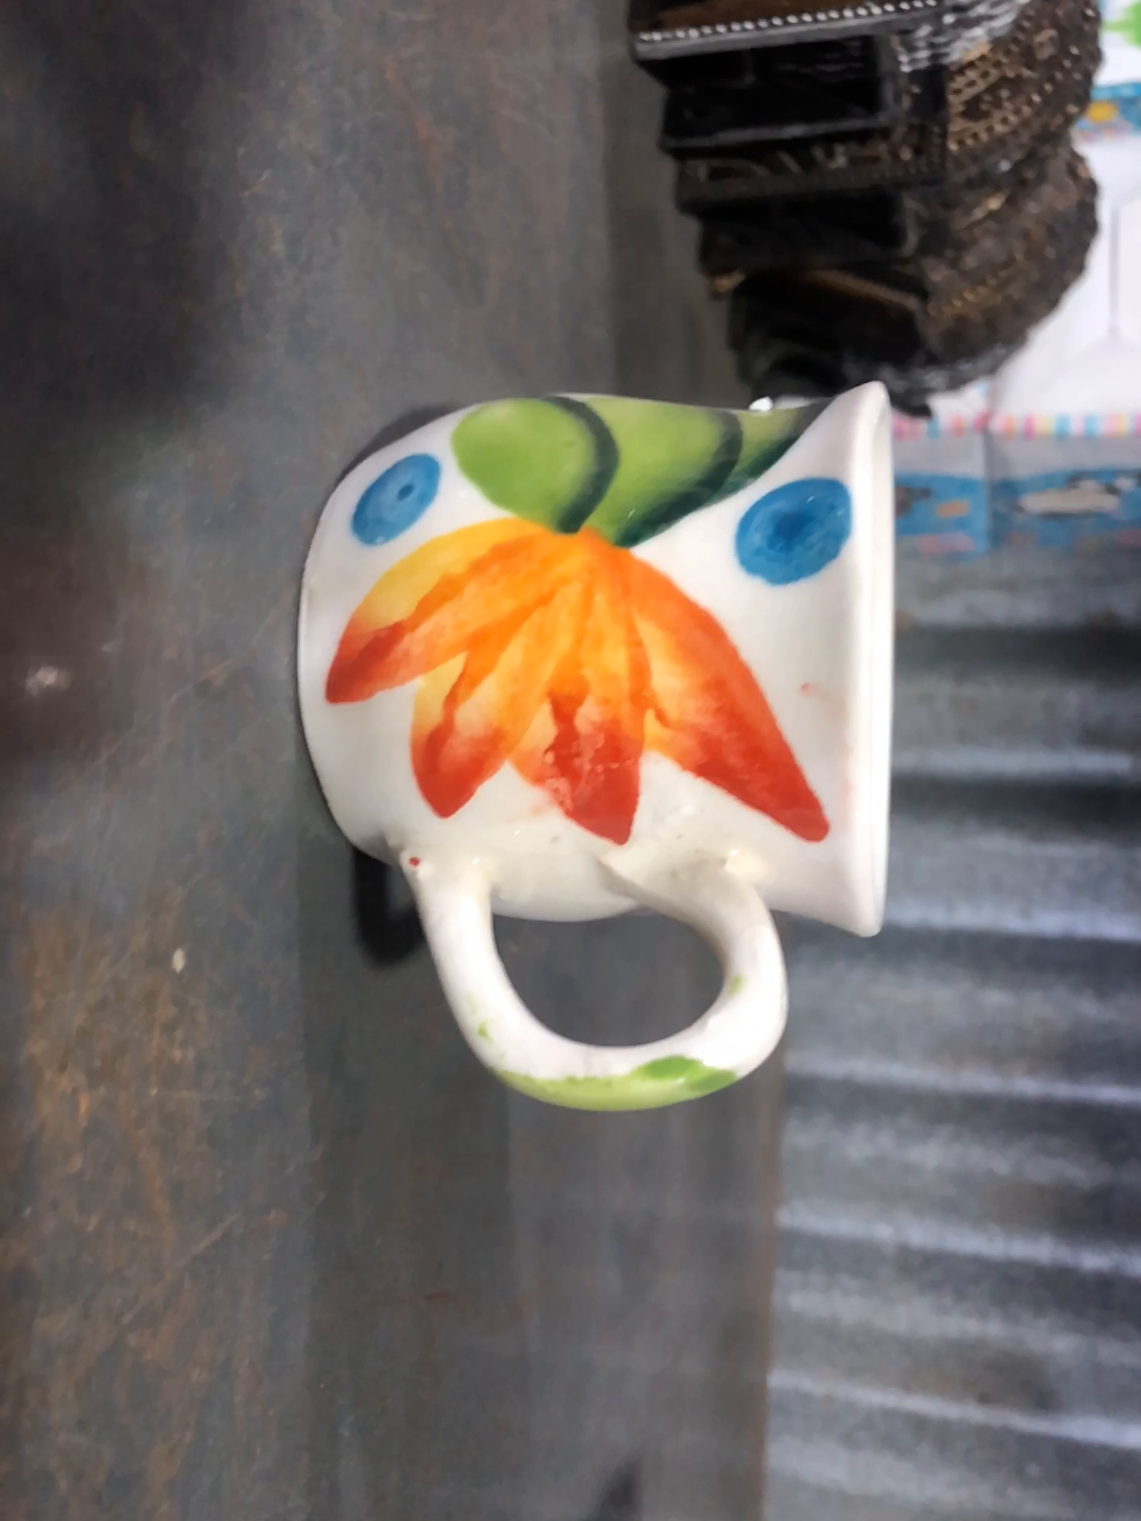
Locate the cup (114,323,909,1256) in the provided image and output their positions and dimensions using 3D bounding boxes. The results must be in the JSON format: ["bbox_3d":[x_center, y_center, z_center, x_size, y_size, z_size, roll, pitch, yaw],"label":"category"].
[{"bbox_3d":[0.005,0.005,0.165,0.070,0.070,0.090,68,28,-57],"label":"cup"}]
